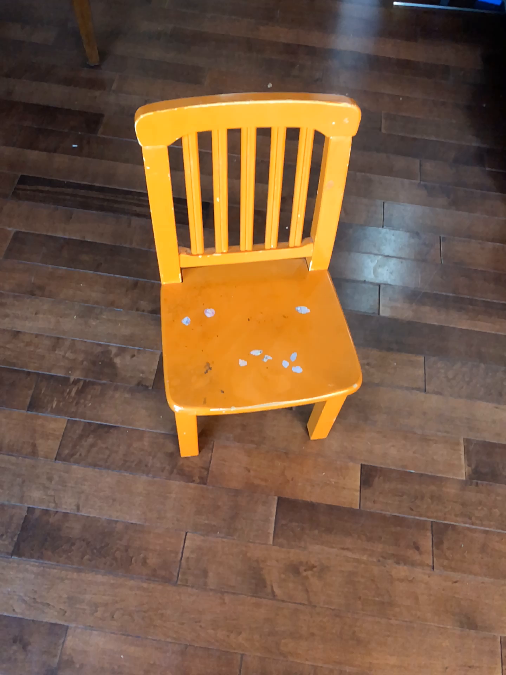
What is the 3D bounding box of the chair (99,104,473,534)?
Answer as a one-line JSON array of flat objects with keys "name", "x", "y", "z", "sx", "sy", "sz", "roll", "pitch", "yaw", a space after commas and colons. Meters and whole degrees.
[{"name": "chair", "x": 0.018, "y": 0.015, "z": 0.886, "sx": 0.360, "sy": 0.569, "sz": 0.351, "roll": -11, "pitch": 56, "yaw": -6}]
